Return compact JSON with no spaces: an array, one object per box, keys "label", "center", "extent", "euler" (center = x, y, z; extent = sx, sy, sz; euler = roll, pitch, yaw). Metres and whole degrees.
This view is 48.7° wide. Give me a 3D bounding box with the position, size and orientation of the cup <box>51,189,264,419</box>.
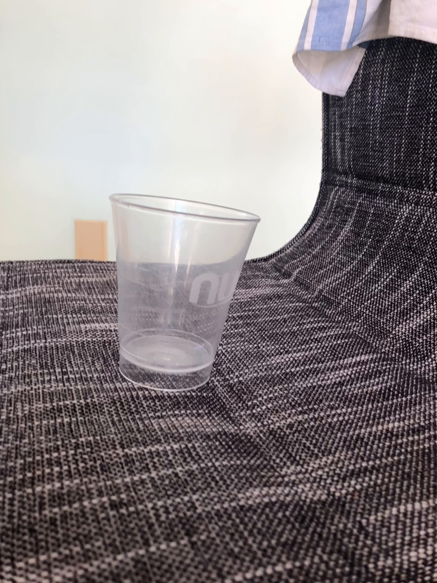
[{"label":"cup","center":[-0.033,-0.001,0.276],"extent":[0.080,0.100,0.080],"euler":[8,14,-2]}]
